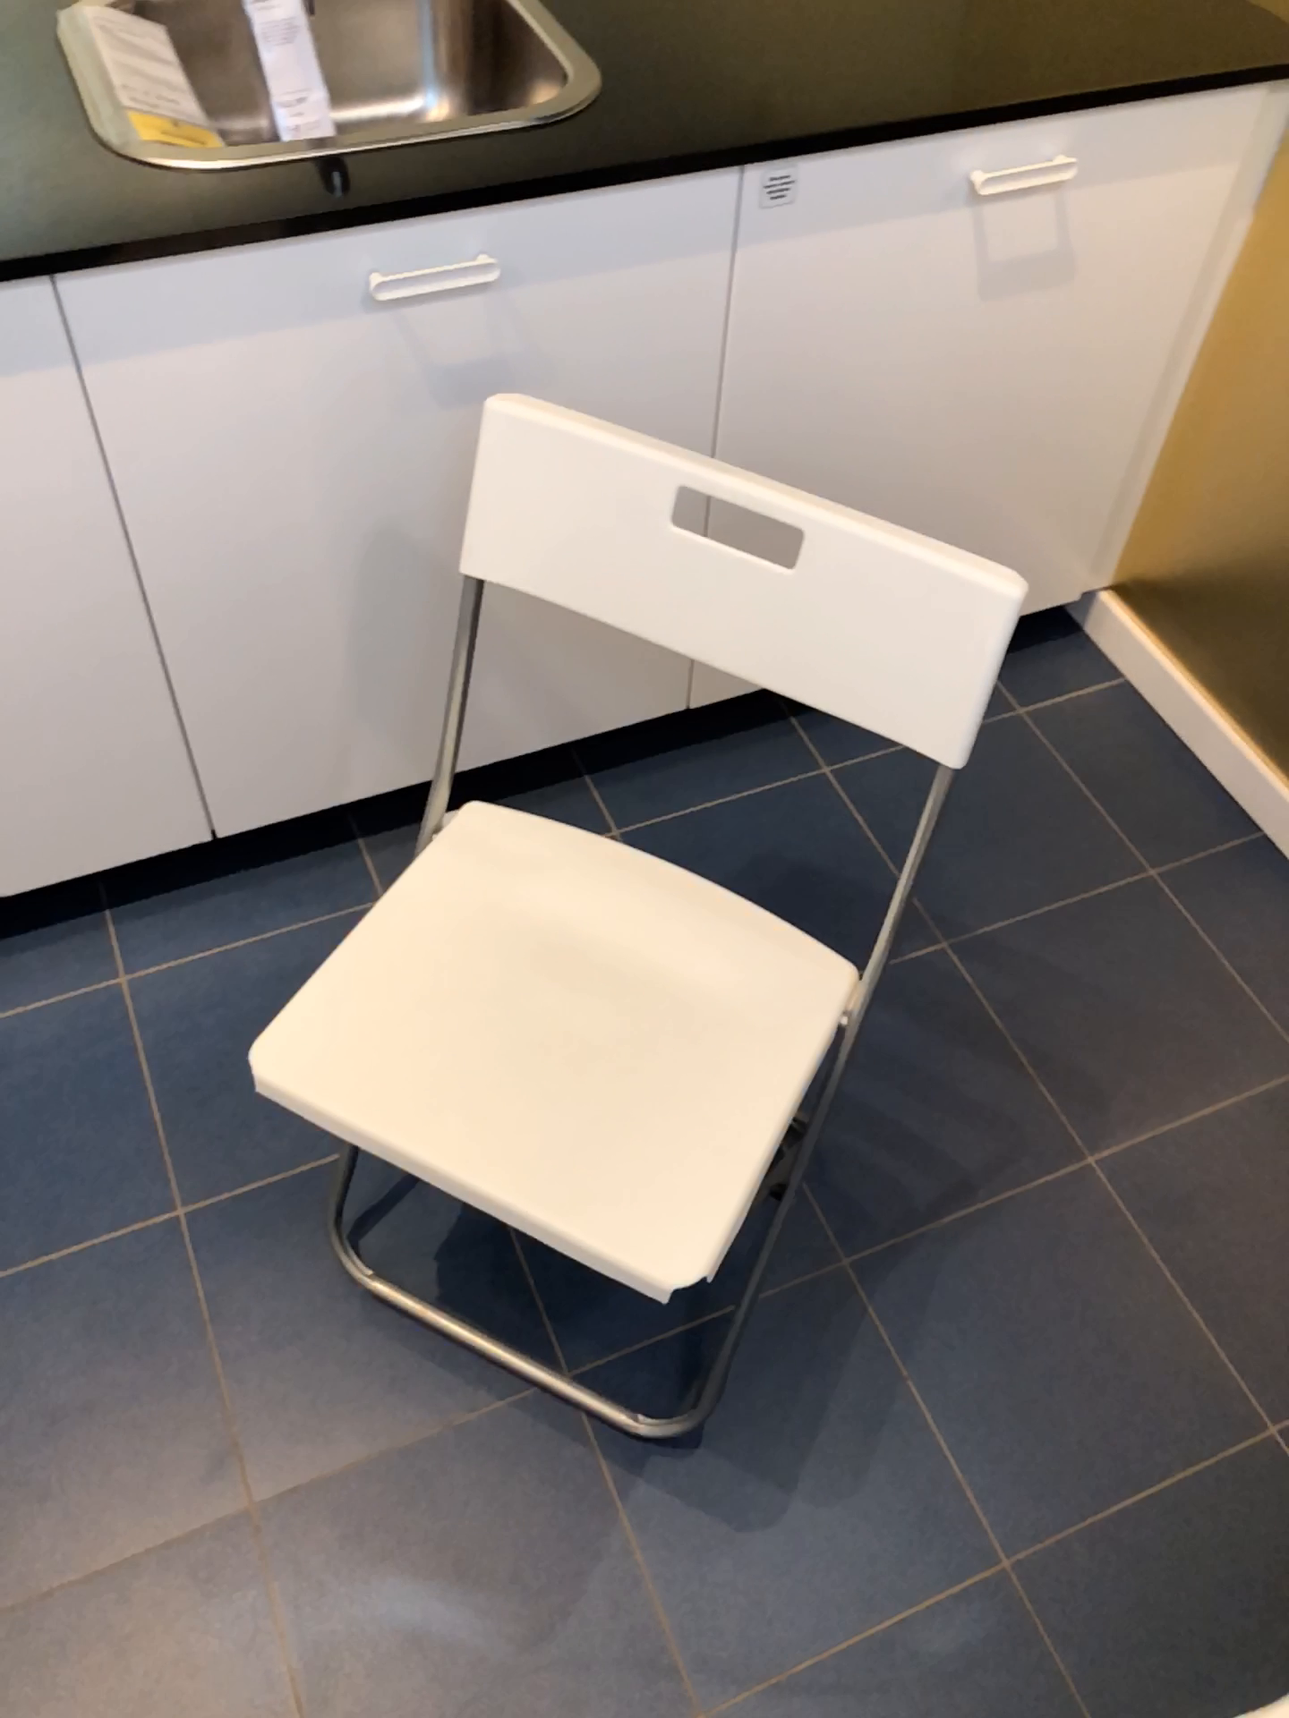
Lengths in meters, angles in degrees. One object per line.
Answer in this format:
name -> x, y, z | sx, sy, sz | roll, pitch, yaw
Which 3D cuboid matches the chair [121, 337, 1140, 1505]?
chair -> 0.005, 0.090, 1.238 | 0.491, 0.776, 0.522 | 23, 53, 15
